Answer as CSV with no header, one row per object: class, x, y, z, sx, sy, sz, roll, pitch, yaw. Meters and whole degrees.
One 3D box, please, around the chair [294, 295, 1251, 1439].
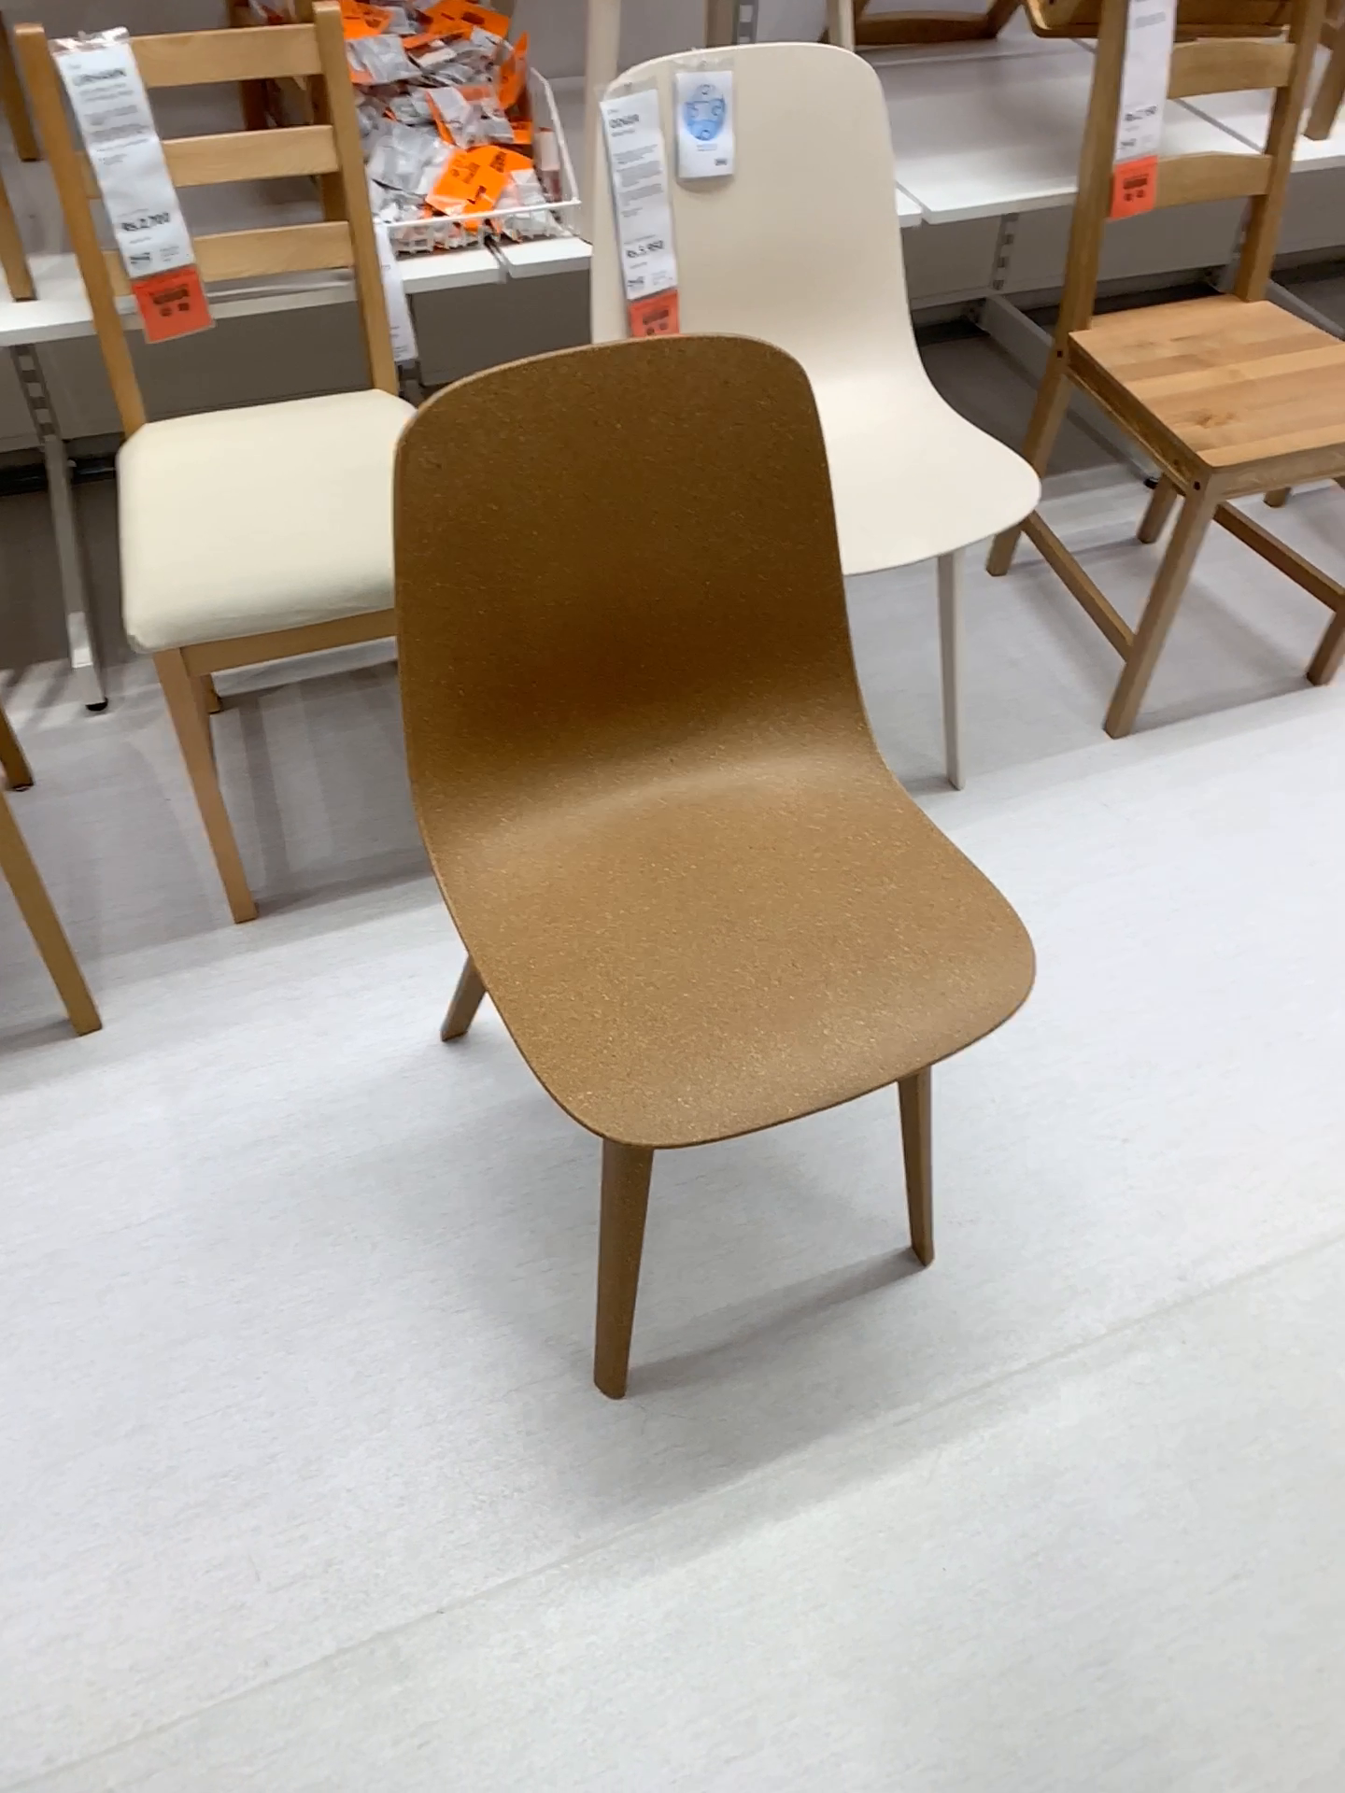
chair,0.017,-0.011,1.221,0.460,0.757,0.562,-16,50,-18
